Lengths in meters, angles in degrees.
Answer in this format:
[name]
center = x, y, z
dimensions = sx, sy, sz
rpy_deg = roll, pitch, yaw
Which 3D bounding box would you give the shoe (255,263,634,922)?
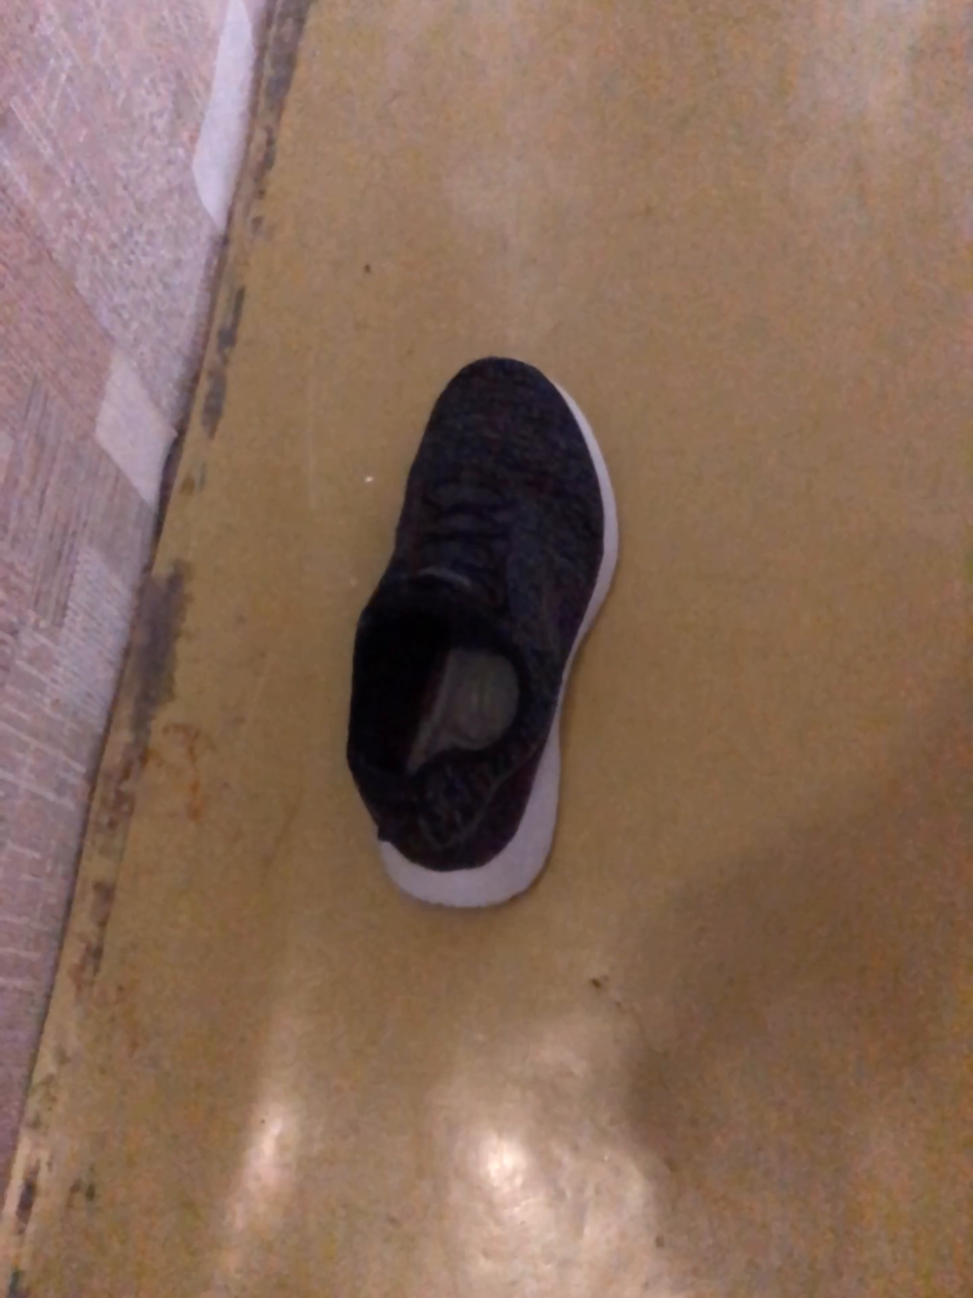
[shoe]
center = -0.005, -0.034, 0.577
dimensions = 0.130, 0.120, 0.320
rpy_deg = 6, 70, 11
